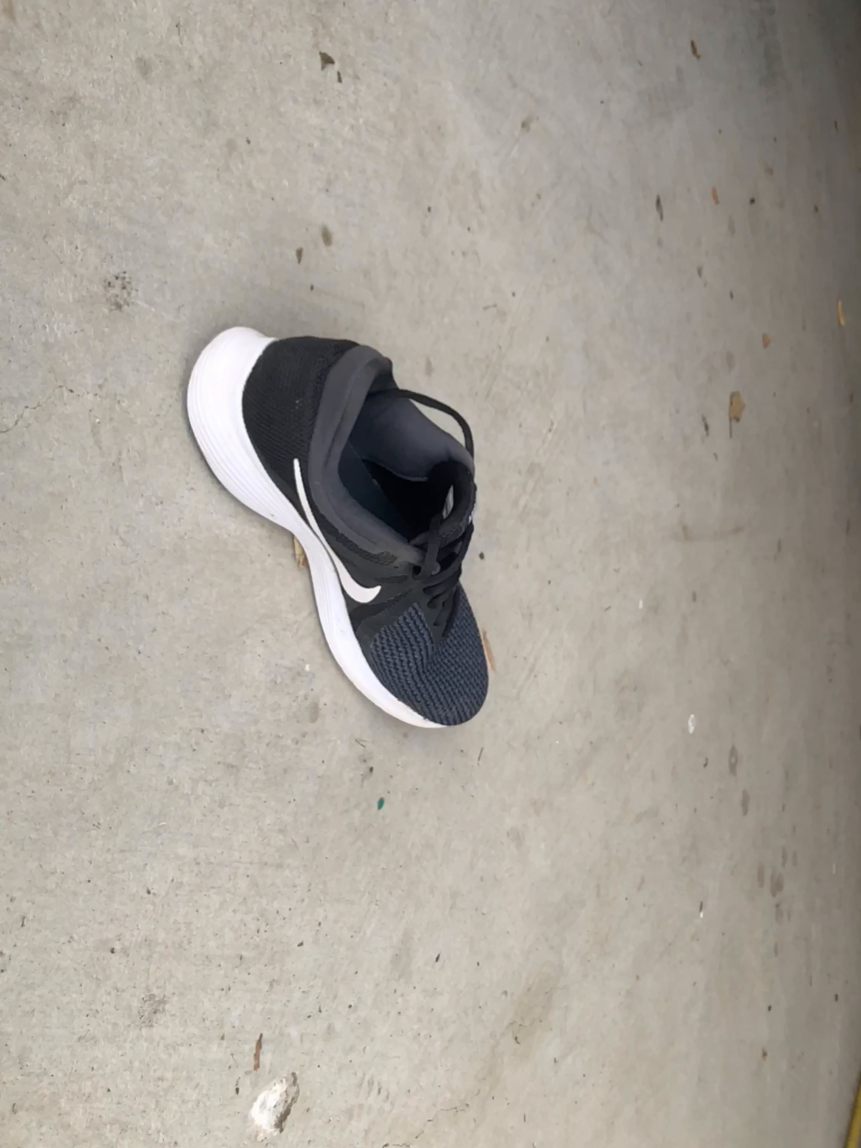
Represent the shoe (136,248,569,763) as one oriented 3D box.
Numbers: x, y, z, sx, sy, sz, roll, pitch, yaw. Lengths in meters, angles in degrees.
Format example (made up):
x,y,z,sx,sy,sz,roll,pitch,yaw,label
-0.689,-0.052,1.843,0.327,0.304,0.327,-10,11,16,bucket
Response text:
x,y,z,sx,sy,sz,roll,pitch,yaw,label
-0.025,-0.026,0.584,0.291,0.099,0.131,60,42,-36,shoe
